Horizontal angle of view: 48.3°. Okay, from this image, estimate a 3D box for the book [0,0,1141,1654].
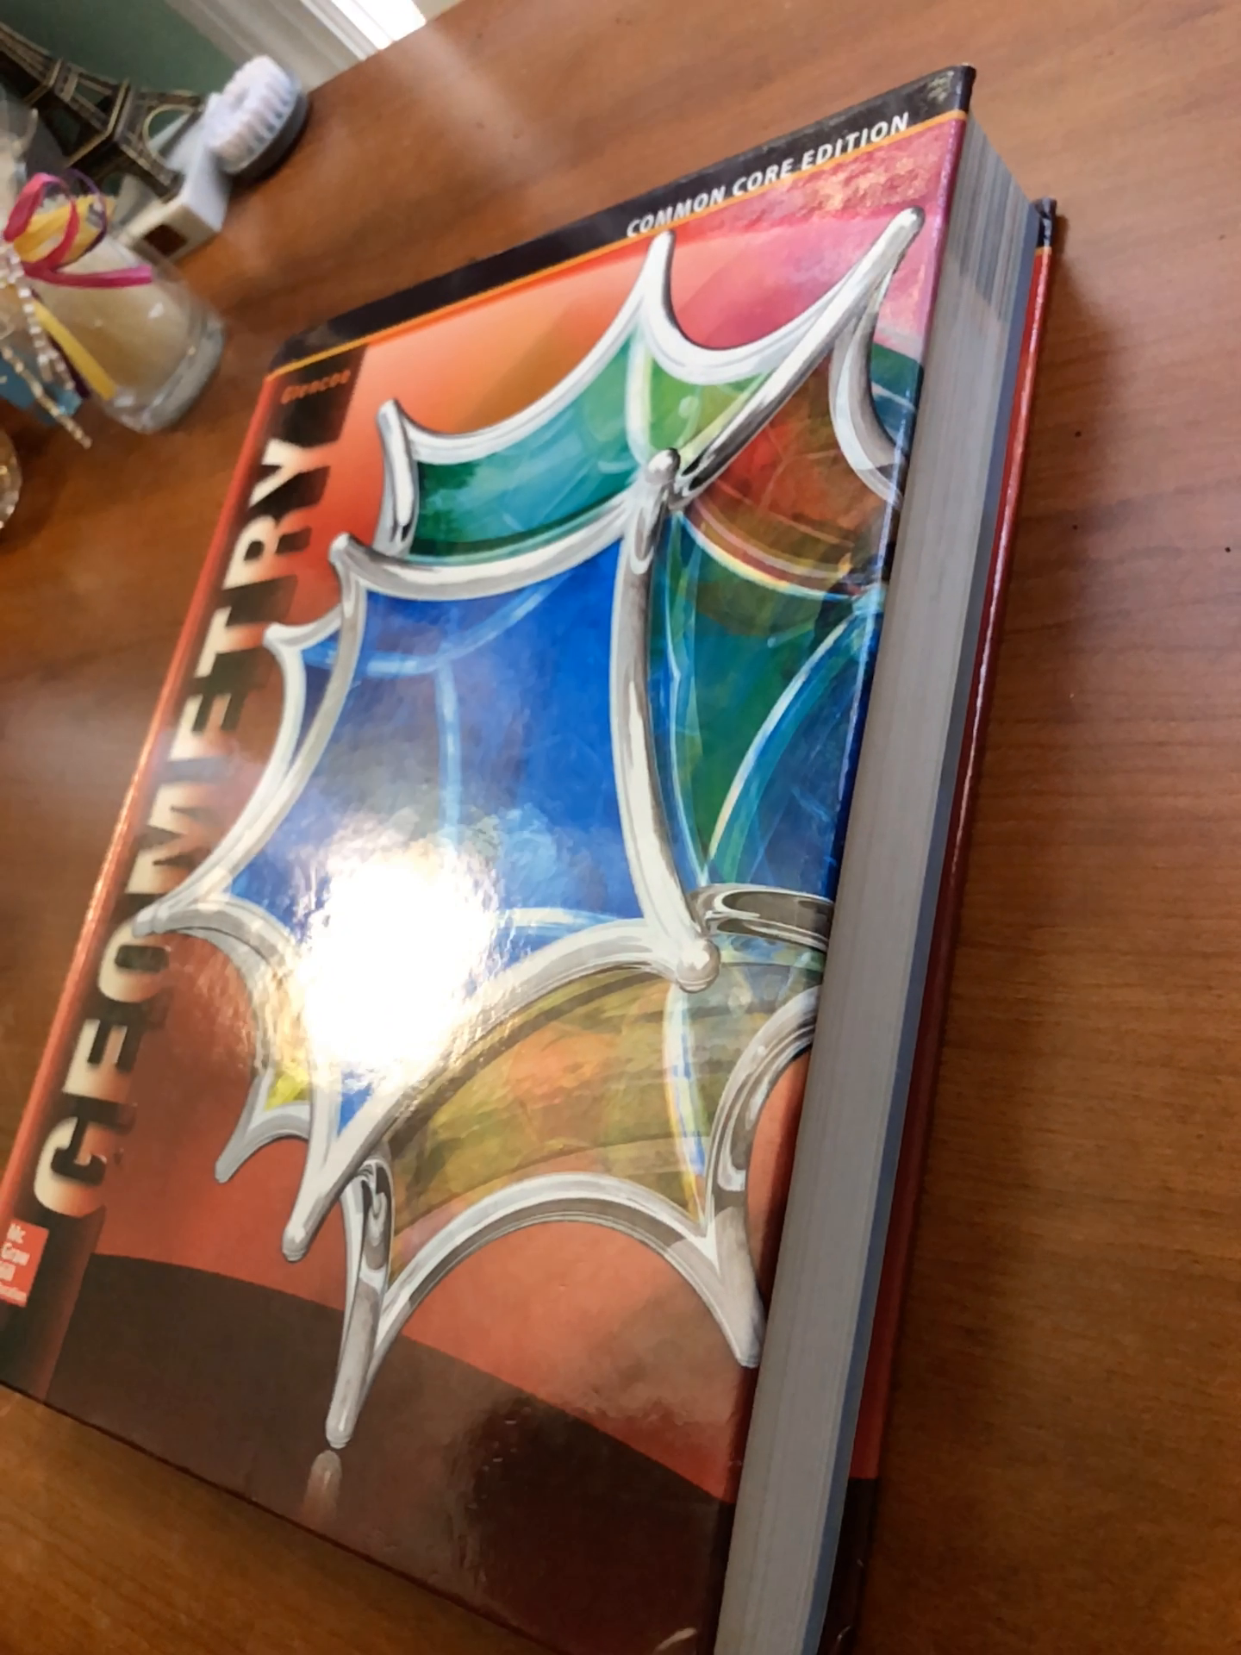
[{"bbox_3d":[-0.024,-0.014,0.311,0.230,0.050,0.310,-1,68,40],"label":"book"}]
